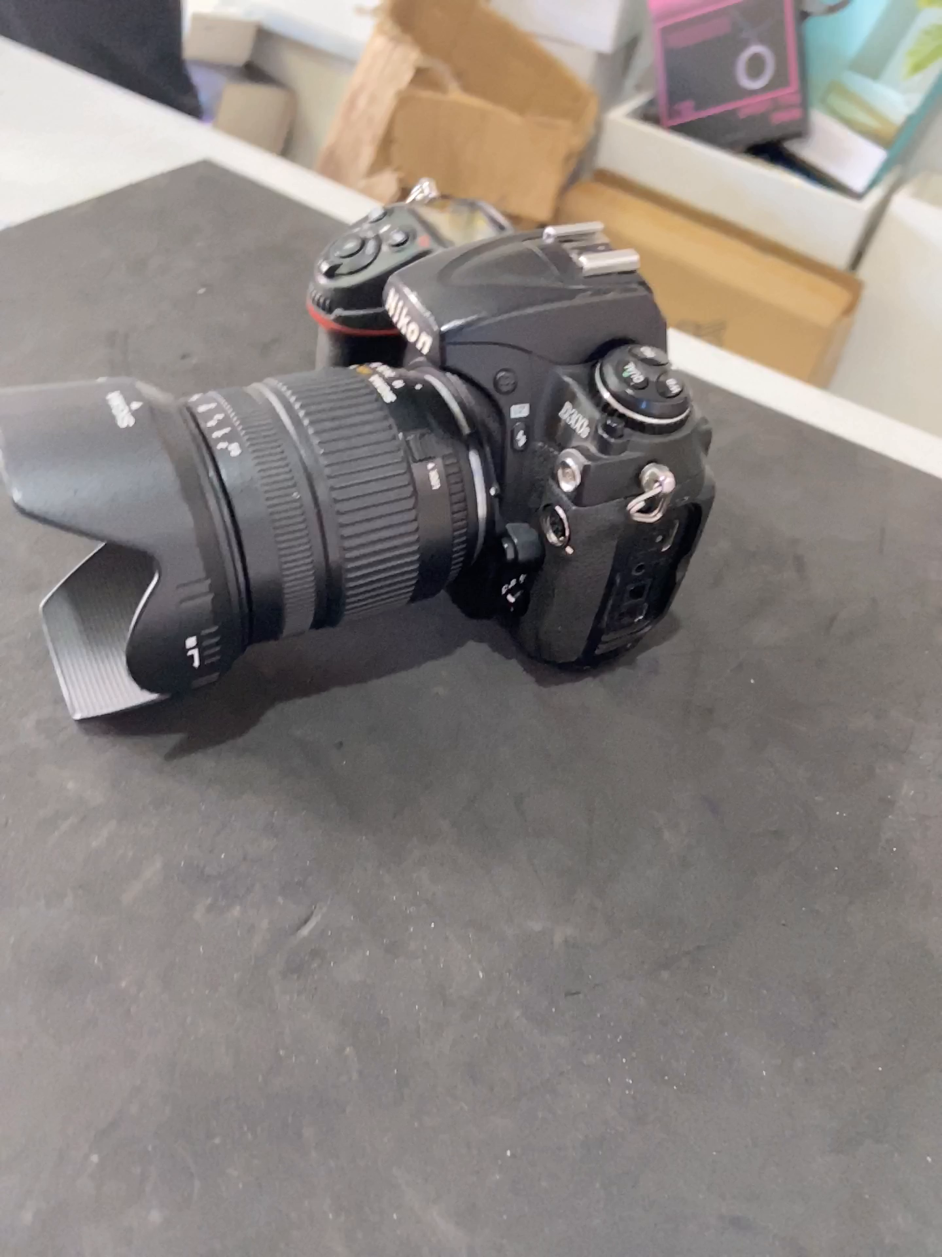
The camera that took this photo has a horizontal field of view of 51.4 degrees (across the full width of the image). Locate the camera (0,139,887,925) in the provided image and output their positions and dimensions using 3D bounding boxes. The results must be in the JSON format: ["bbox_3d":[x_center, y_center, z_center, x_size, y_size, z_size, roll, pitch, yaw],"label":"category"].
[{"bbox_3d":[-0.029,-0.048,0.277,0.180,0.109,0.171,-14,49,-25],"label":"camera"}]
